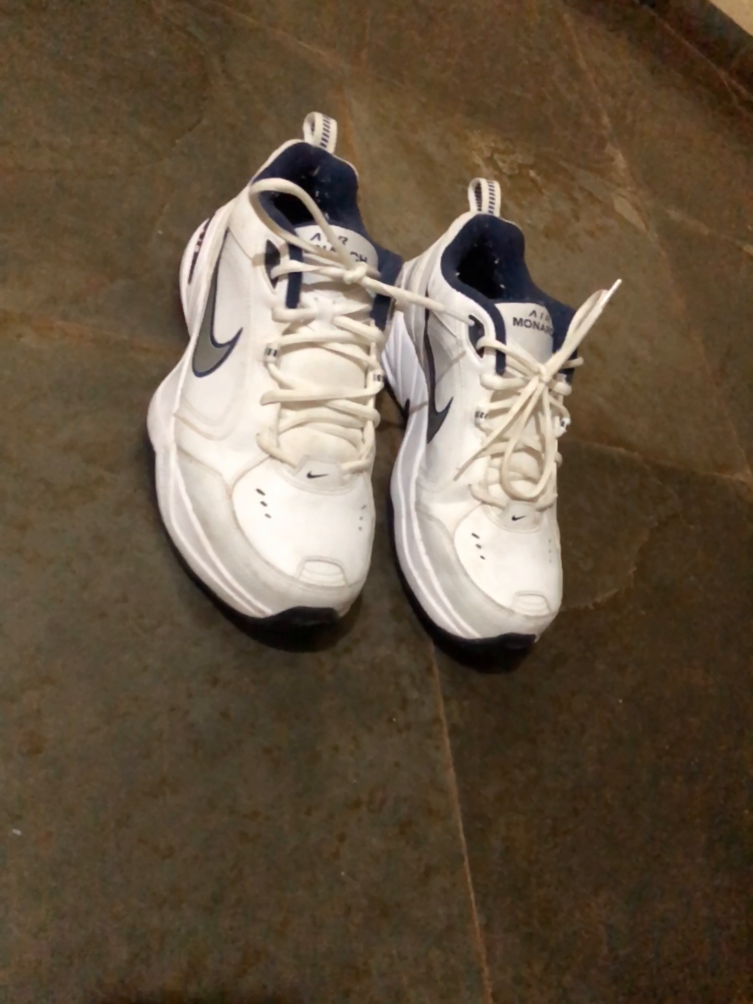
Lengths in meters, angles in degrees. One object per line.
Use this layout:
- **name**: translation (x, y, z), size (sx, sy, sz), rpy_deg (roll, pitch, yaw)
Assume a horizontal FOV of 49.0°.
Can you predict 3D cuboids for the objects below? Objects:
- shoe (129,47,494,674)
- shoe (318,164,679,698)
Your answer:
- **shoe**: translation (-0.057, -0.073, 0.465), size (0.120, 0.149, 0.301), rpy_deg (8, 58, -30)
- **shoe**: translation (0.060, -0.043, 0.546), size (0.120, 0.149, 0.301), rpy_deg (11, 57, -29)
